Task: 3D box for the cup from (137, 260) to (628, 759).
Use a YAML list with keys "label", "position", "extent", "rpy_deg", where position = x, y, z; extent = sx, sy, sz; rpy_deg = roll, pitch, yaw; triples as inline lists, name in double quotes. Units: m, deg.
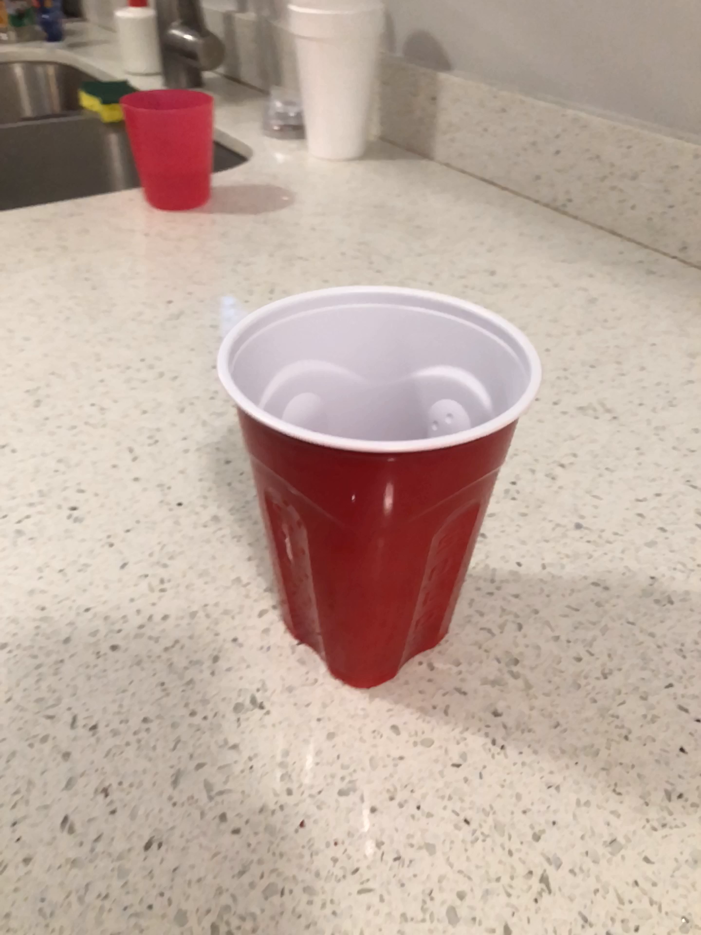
- label: "cup"
  position: [0.007, 0.004, 0.254]
  extent: [0.102, 0.092, 0.101]
  rpy_deg: [0, 37, 0]
